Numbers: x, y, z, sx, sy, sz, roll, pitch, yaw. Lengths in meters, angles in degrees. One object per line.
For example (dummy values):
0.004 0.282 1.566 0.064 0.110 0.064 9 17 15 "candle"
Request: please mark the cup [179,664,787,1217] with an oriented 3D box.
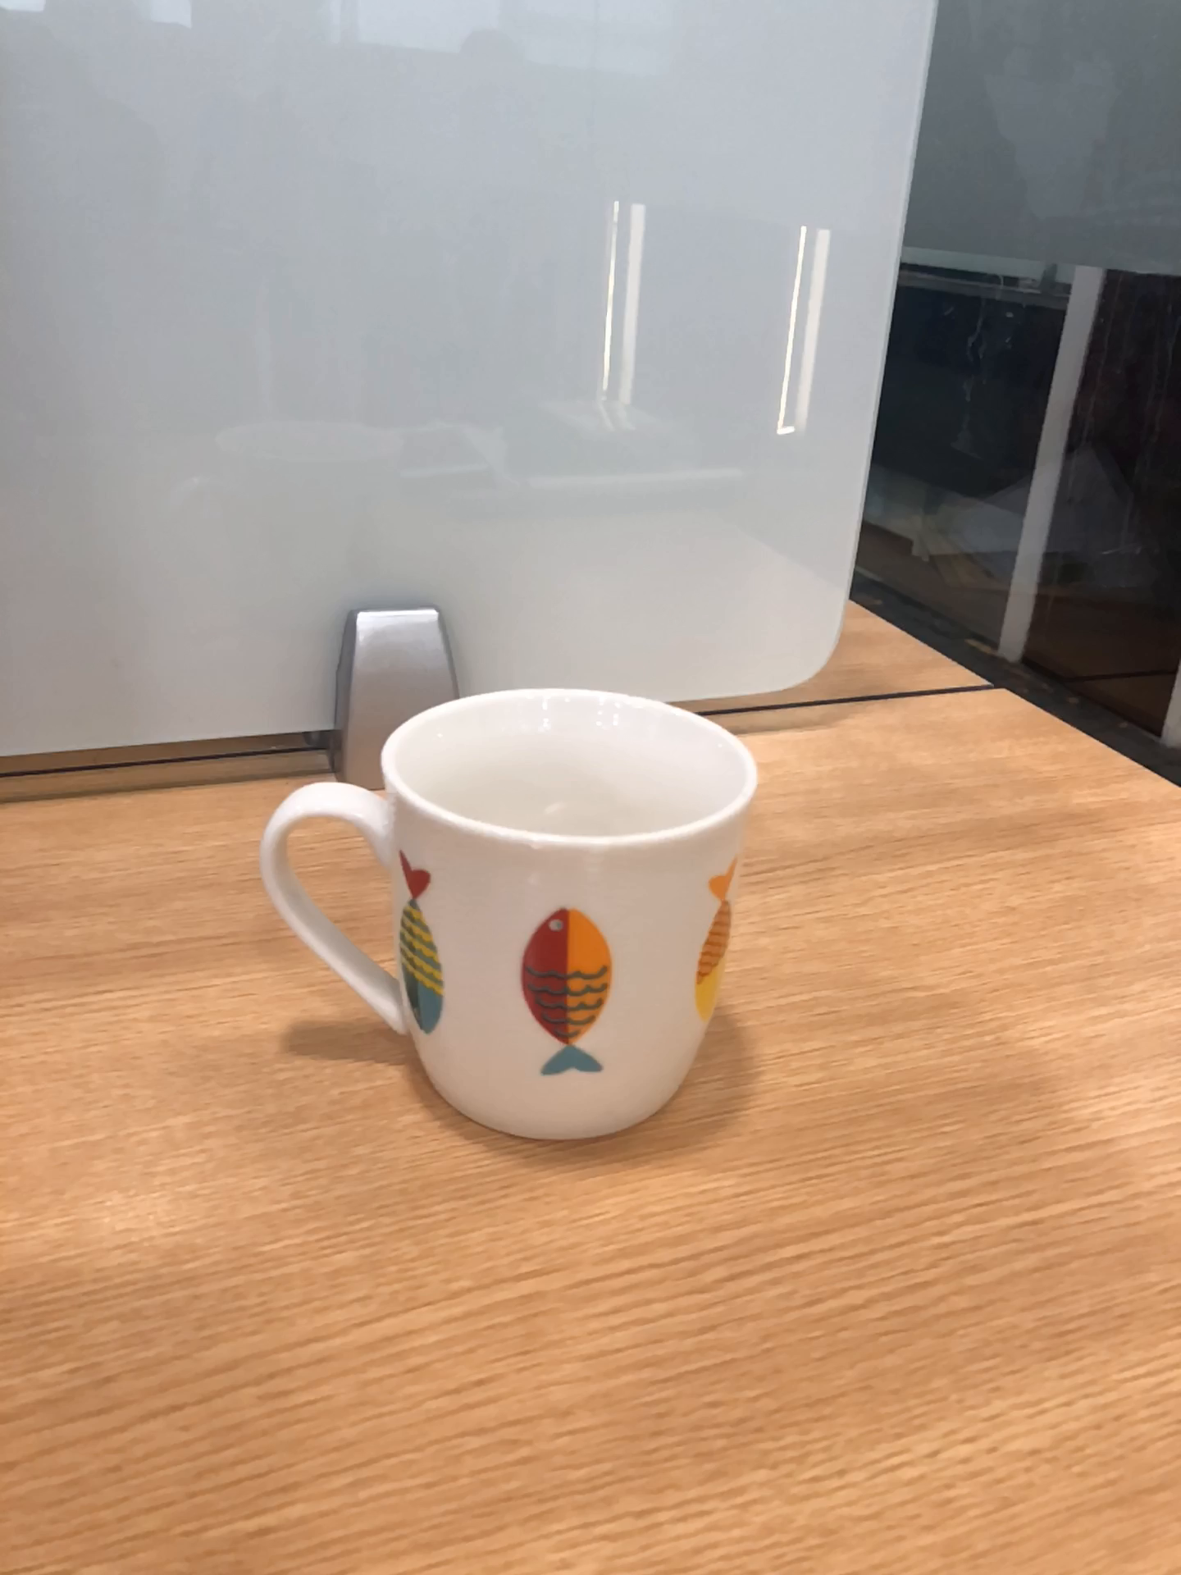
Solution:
-0.023 0.031 0.292 0.110 0.090 0.080 3 25 -3 "cup"
